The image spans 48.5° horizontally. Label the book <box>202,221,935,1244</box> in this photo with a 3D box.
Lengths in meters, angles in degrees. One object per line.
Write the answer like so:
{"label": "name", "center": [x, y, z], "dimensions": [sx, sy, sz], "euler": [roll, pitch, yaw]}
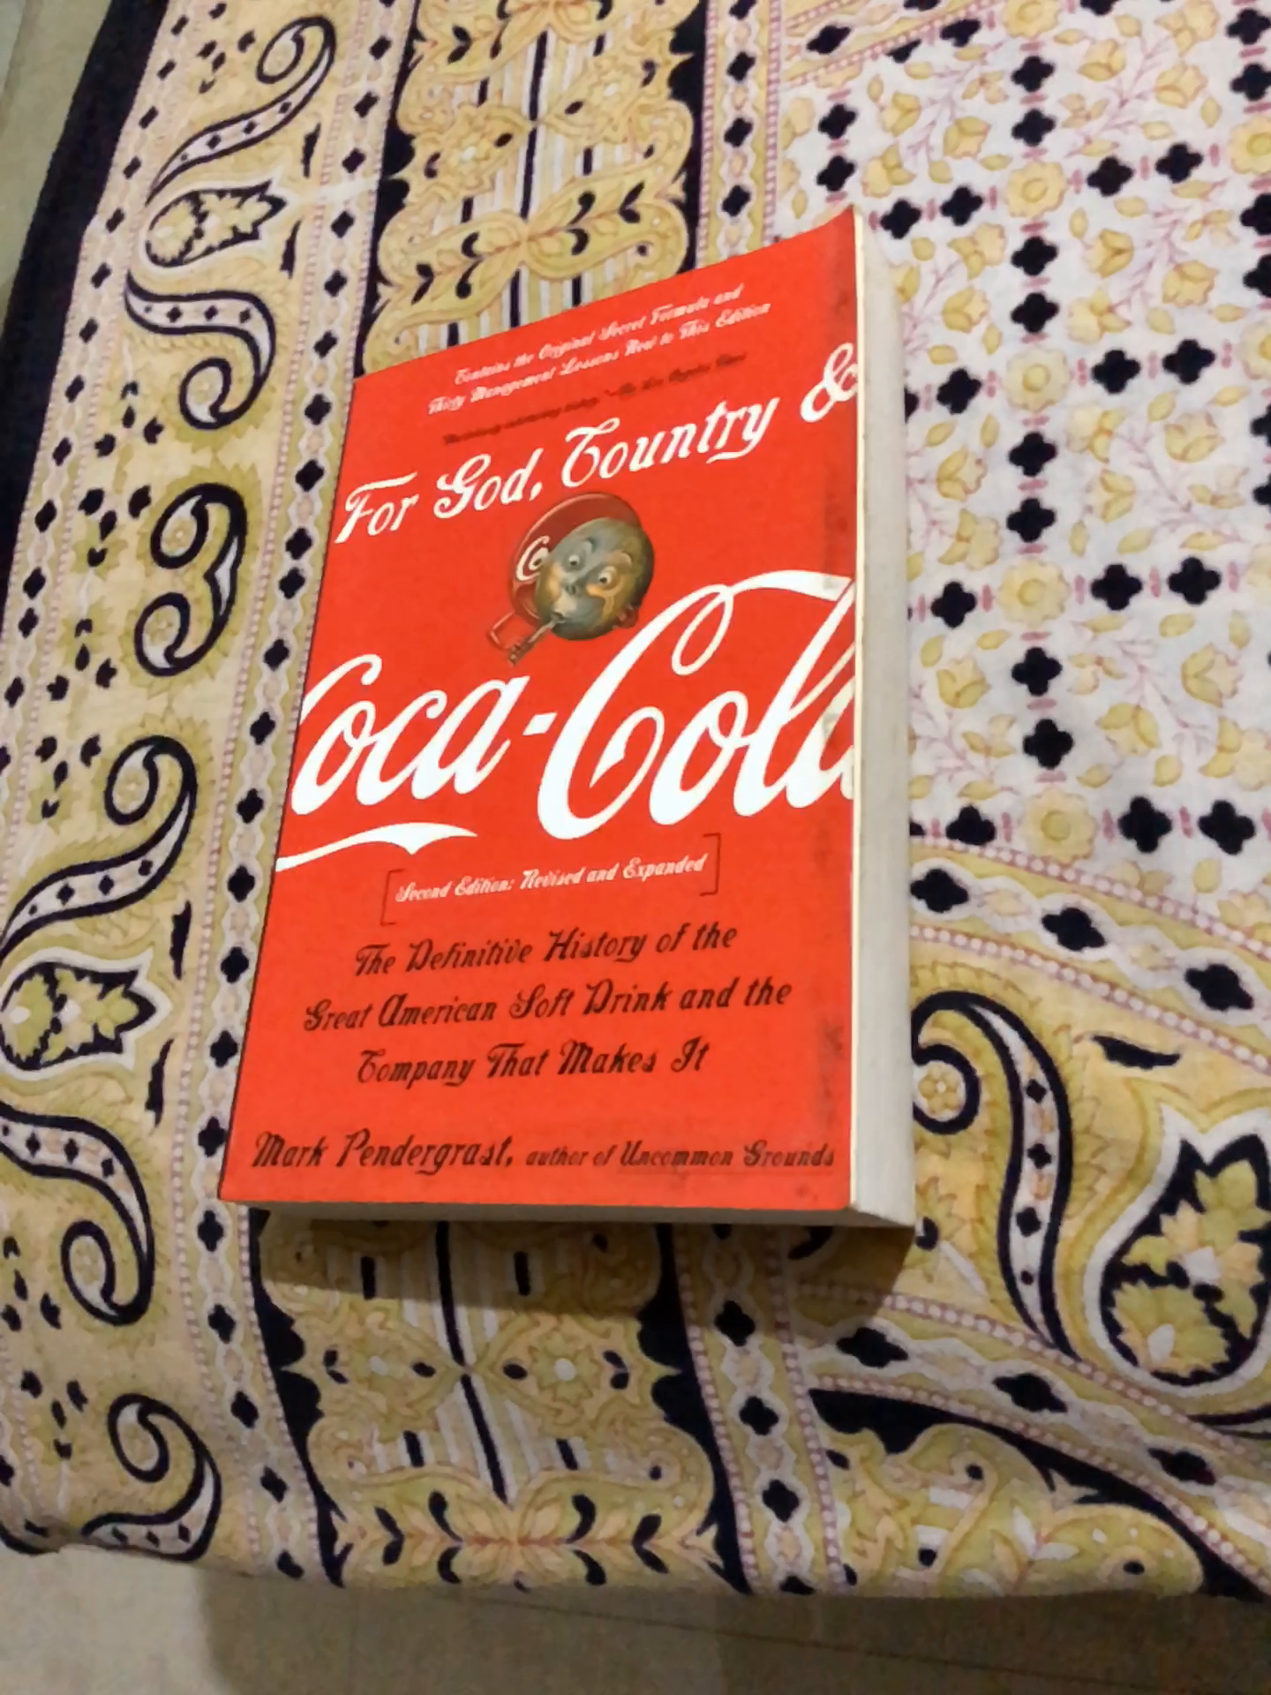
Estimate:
{"label": "book", "center": [-0.013, -0.024, 0.353], "dimensions": [0.160, 0.050, 0.230], "euler": [-7, 68, 27]}
